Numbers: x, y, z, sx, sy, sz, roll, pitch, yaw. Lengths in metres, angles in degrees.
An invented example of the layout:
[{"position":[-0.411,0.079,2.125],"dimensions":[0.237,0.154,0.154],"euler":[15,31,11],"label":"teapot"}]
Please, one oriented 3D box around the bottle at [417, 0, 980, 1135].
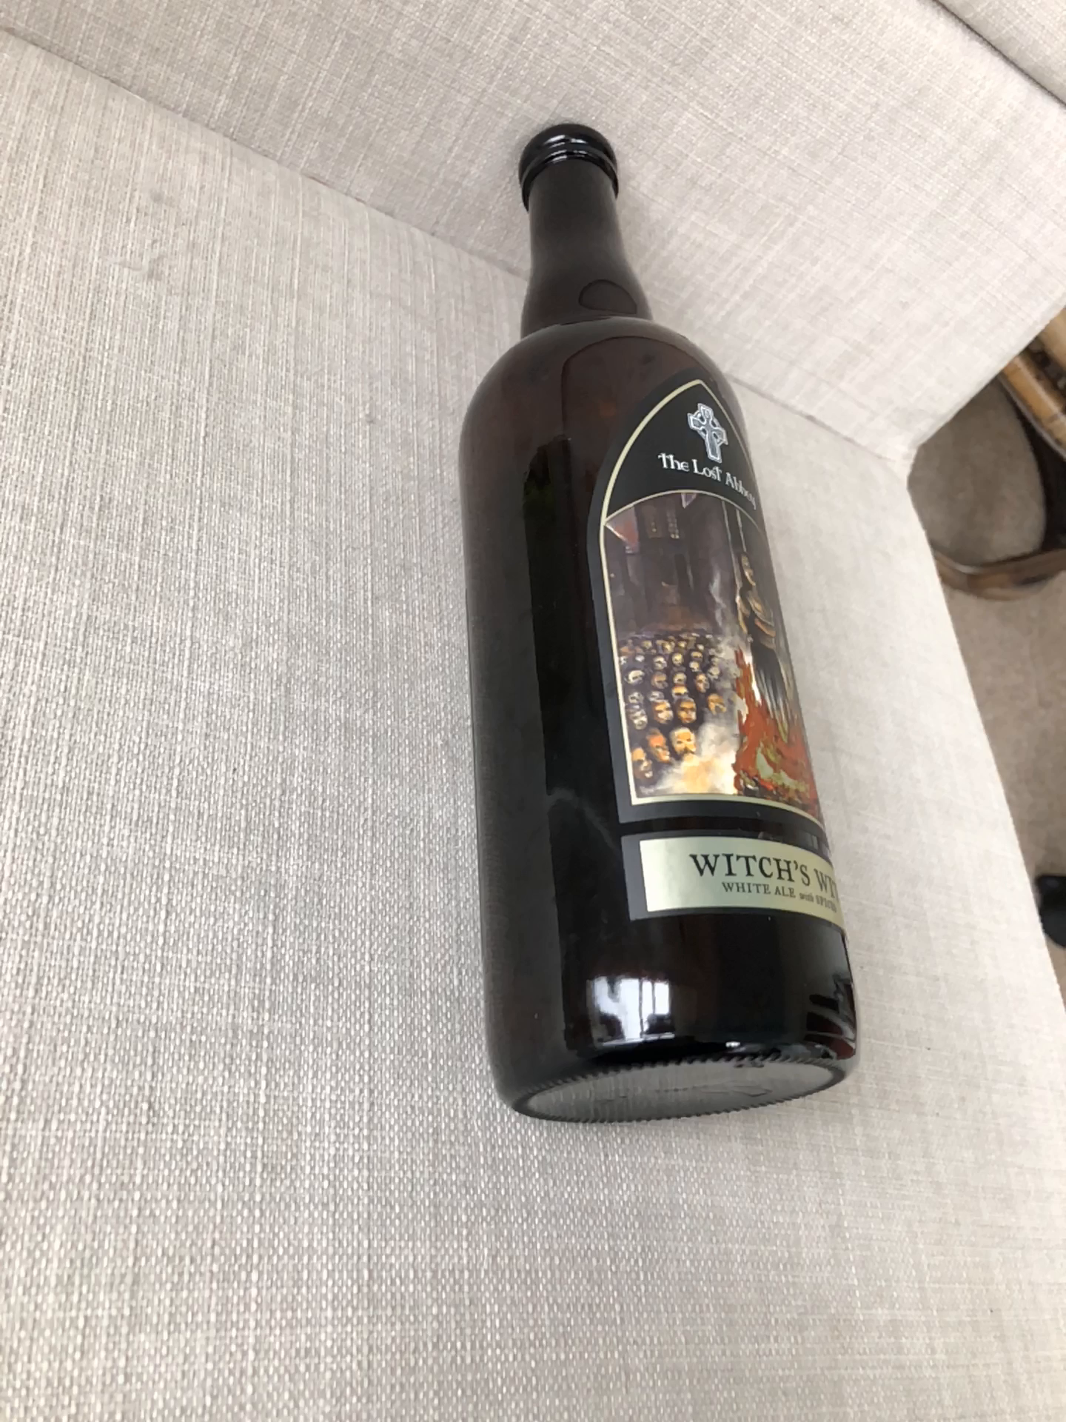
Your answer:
[{"position":[0.026,-0.046,0.301],"dimensions":[0.080,0.079,0.281],"euler":[15,59,-33],"label":"bottle"}]
